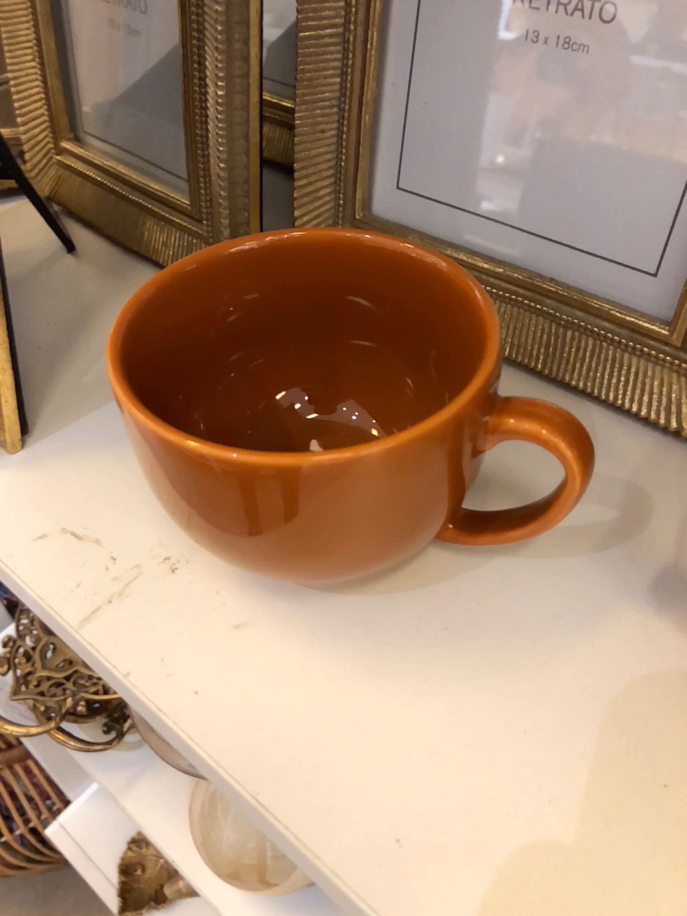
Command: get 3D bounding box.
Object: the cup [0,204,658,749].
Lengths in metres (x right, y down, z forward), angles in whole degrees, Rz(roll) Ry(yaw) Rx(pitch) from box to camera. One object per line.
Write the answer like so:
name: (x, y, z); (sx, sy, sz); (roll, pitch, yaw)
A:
cup: (0.001, -0.005, 0.192); (0.120, 0.060, 0.091); (18, 50, 21)
